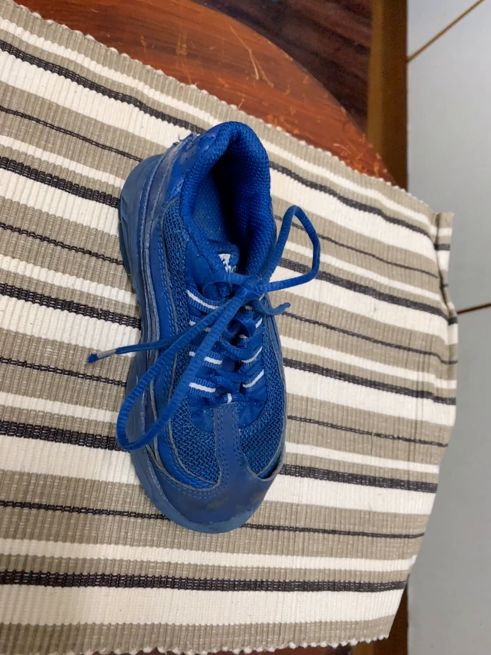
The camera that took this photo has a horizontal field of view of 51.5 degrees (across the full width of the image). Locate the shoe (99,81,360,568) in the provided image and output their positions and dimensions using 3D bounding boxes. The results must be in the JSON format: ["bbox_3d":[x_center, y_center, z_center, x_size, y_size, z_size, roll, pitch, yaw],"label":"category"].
[{"bbox_3d":[-0.015,-0.001,0.232,0.073,0.079,0.175,-2,81,-29],"label":"shoe"}]
